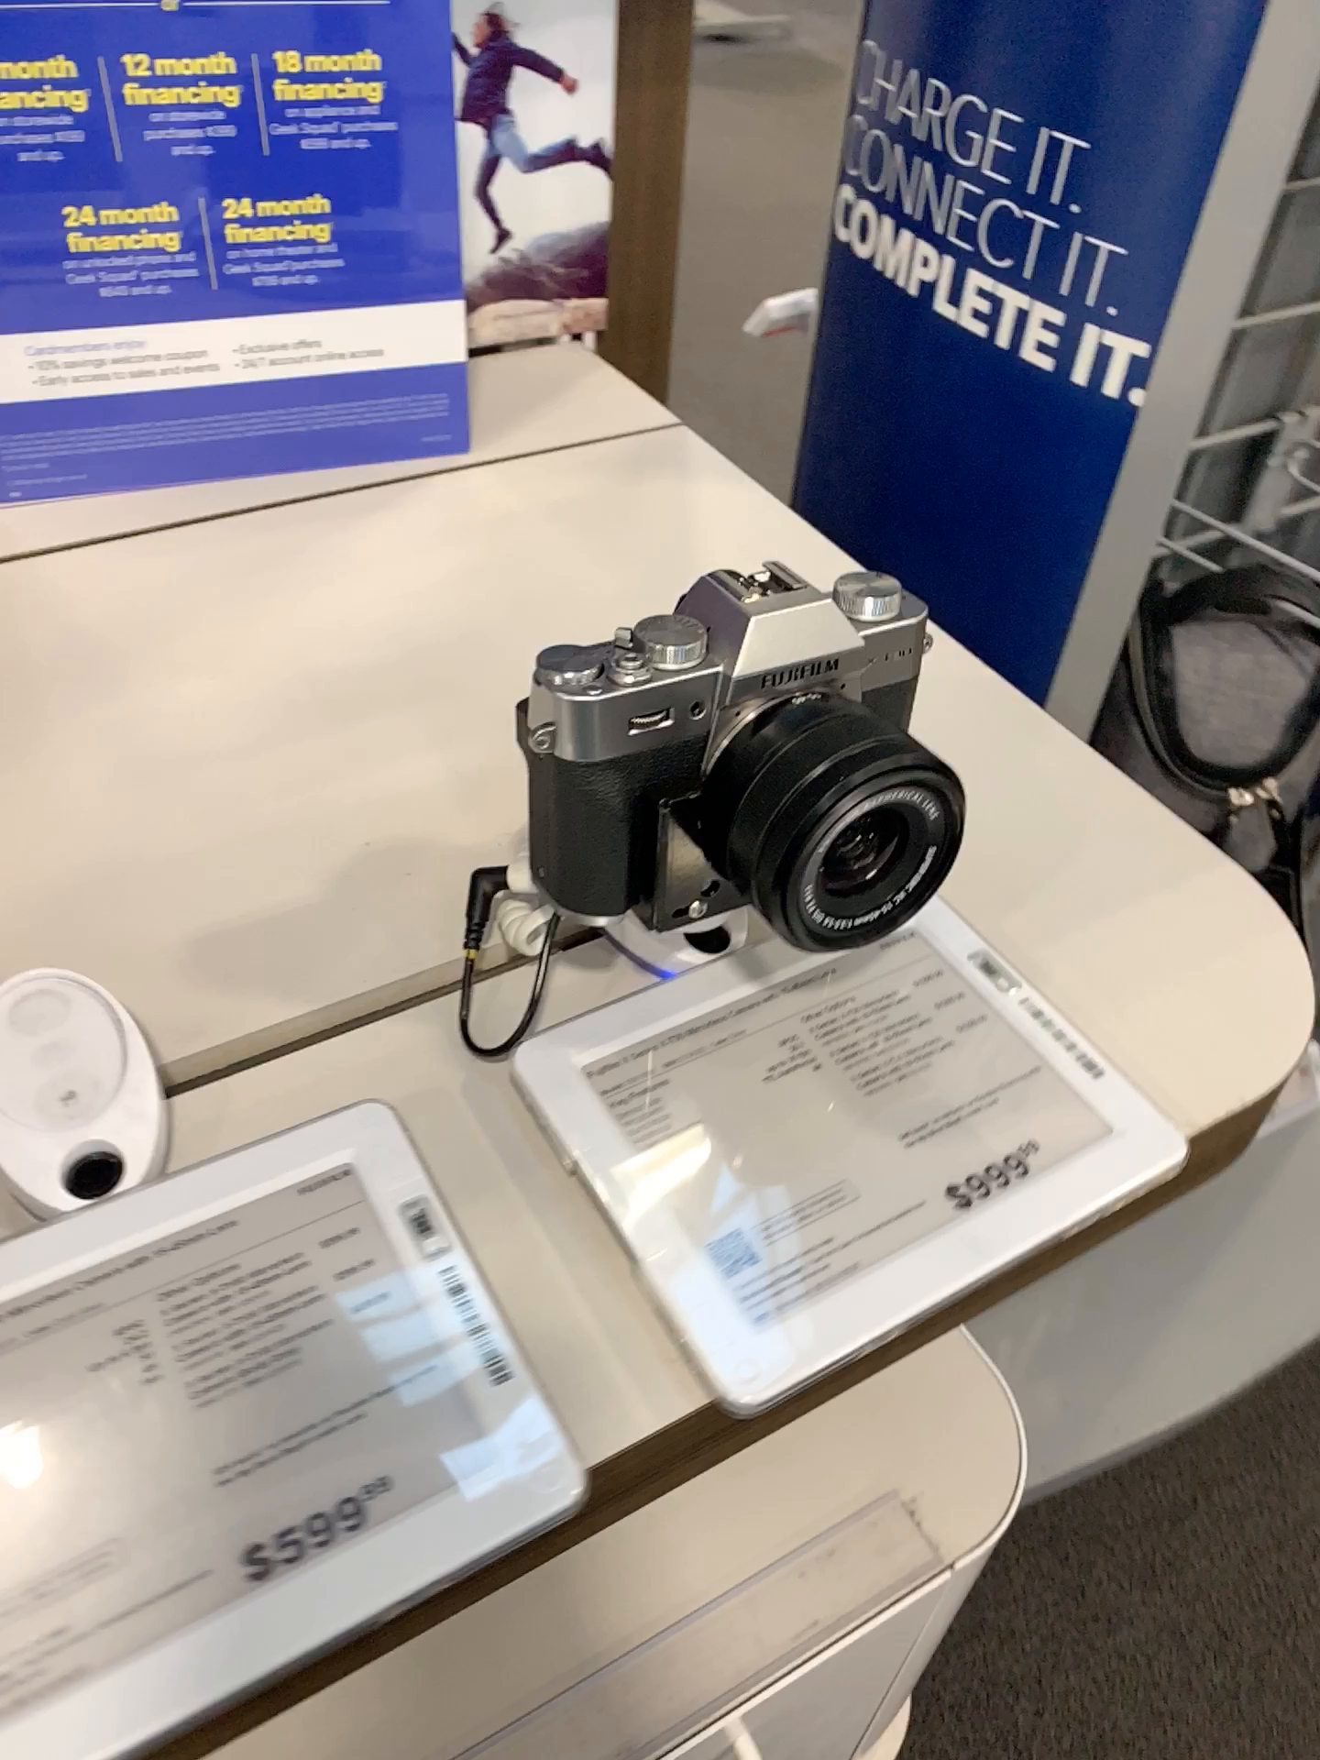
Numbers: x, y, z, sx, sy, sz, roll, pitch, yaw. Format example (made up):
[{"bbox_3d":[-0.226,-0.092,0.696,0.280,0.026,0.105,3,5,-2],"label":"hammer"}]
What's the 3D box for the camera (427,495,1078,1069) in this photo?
[{"bbox_3d":[0.019,-0.032,0.367,0.130,0.080,0.100,-19,48,-22],"label":"camera"}]
